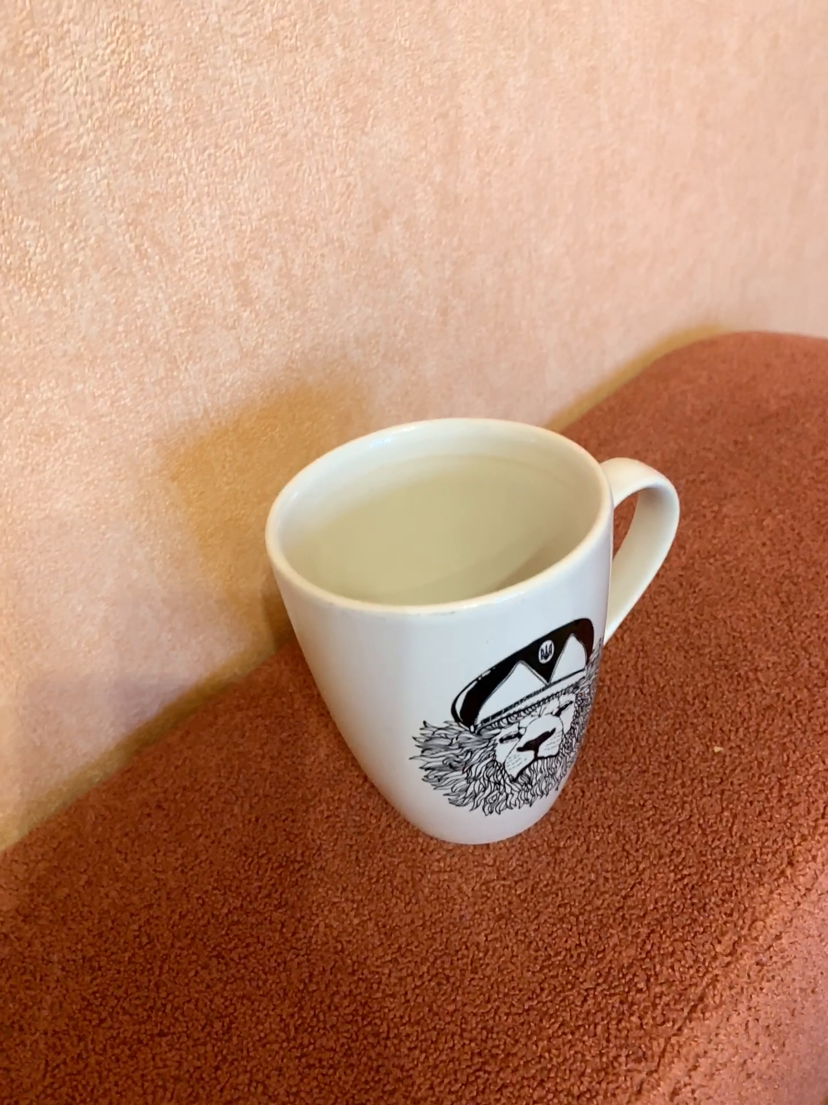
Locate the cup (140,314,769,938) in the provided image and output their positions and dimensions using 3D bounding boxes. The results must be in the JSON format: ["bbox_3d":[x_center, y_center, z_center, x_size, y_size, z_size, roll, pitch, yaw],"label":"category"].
[{"bbox_3d":[0.011,0.011,0.252,0.126,0.095,0.106,-27,42,-20],"label":"cup"}]
